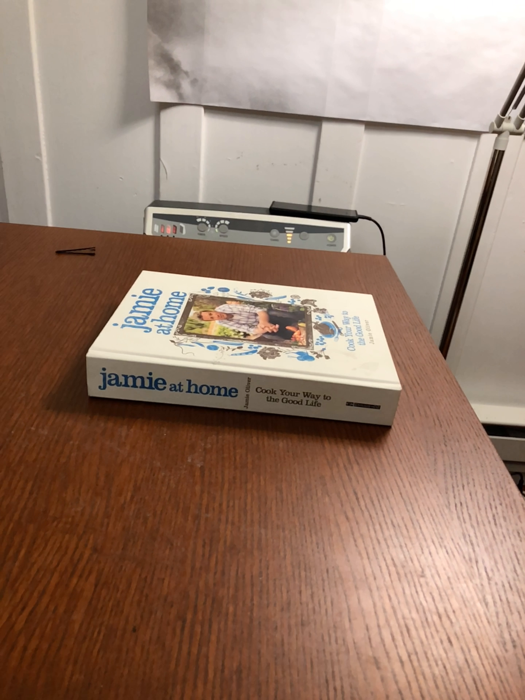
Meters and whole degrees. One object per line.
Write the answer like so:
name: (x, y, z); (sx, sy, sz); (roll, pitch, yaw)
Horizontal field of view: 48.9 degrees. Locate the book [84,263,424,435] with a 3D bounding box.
book: (-0.004, -0.013, 0.543); (0.260, 0.040, 0.211); (6, 29, -1)
